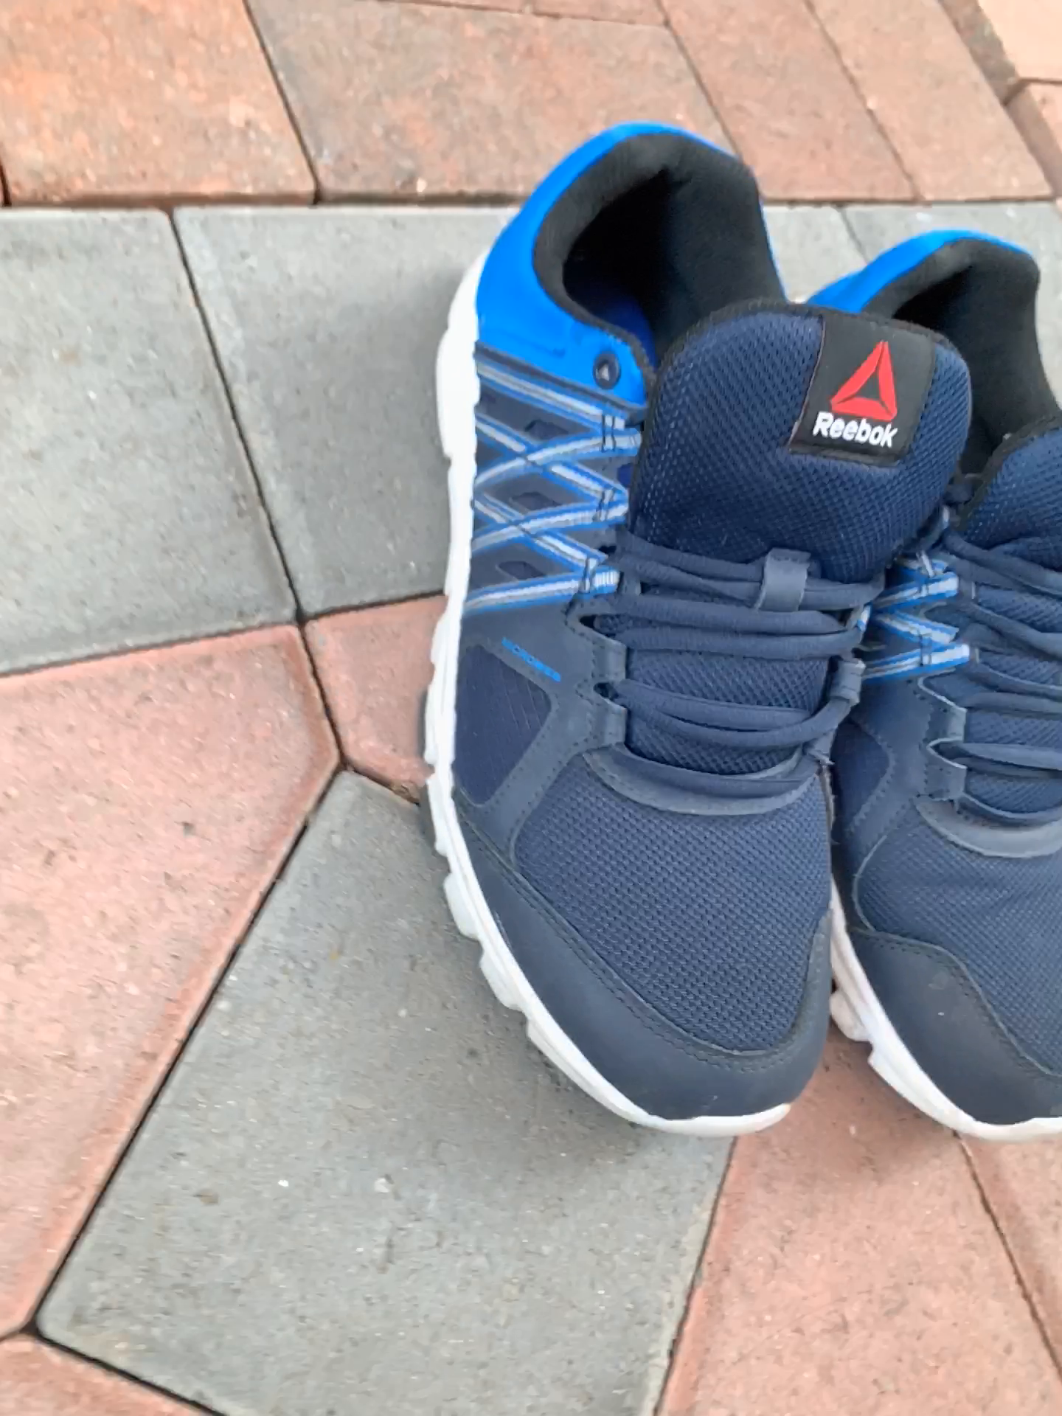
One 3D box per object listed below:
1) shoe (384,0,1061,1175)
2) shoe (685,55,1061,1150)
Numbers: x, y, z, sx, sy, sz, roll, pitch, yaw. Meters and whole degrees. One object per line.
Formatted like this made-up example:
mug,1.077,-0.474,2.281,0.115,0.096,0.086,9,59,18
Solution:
shoe,0.037,-0.034,0.269,0.110,0.119,0.261,4,68,-22
shoe,0.141,-0.025,0.328,0.110,0.119,0.281,4,68,-22
